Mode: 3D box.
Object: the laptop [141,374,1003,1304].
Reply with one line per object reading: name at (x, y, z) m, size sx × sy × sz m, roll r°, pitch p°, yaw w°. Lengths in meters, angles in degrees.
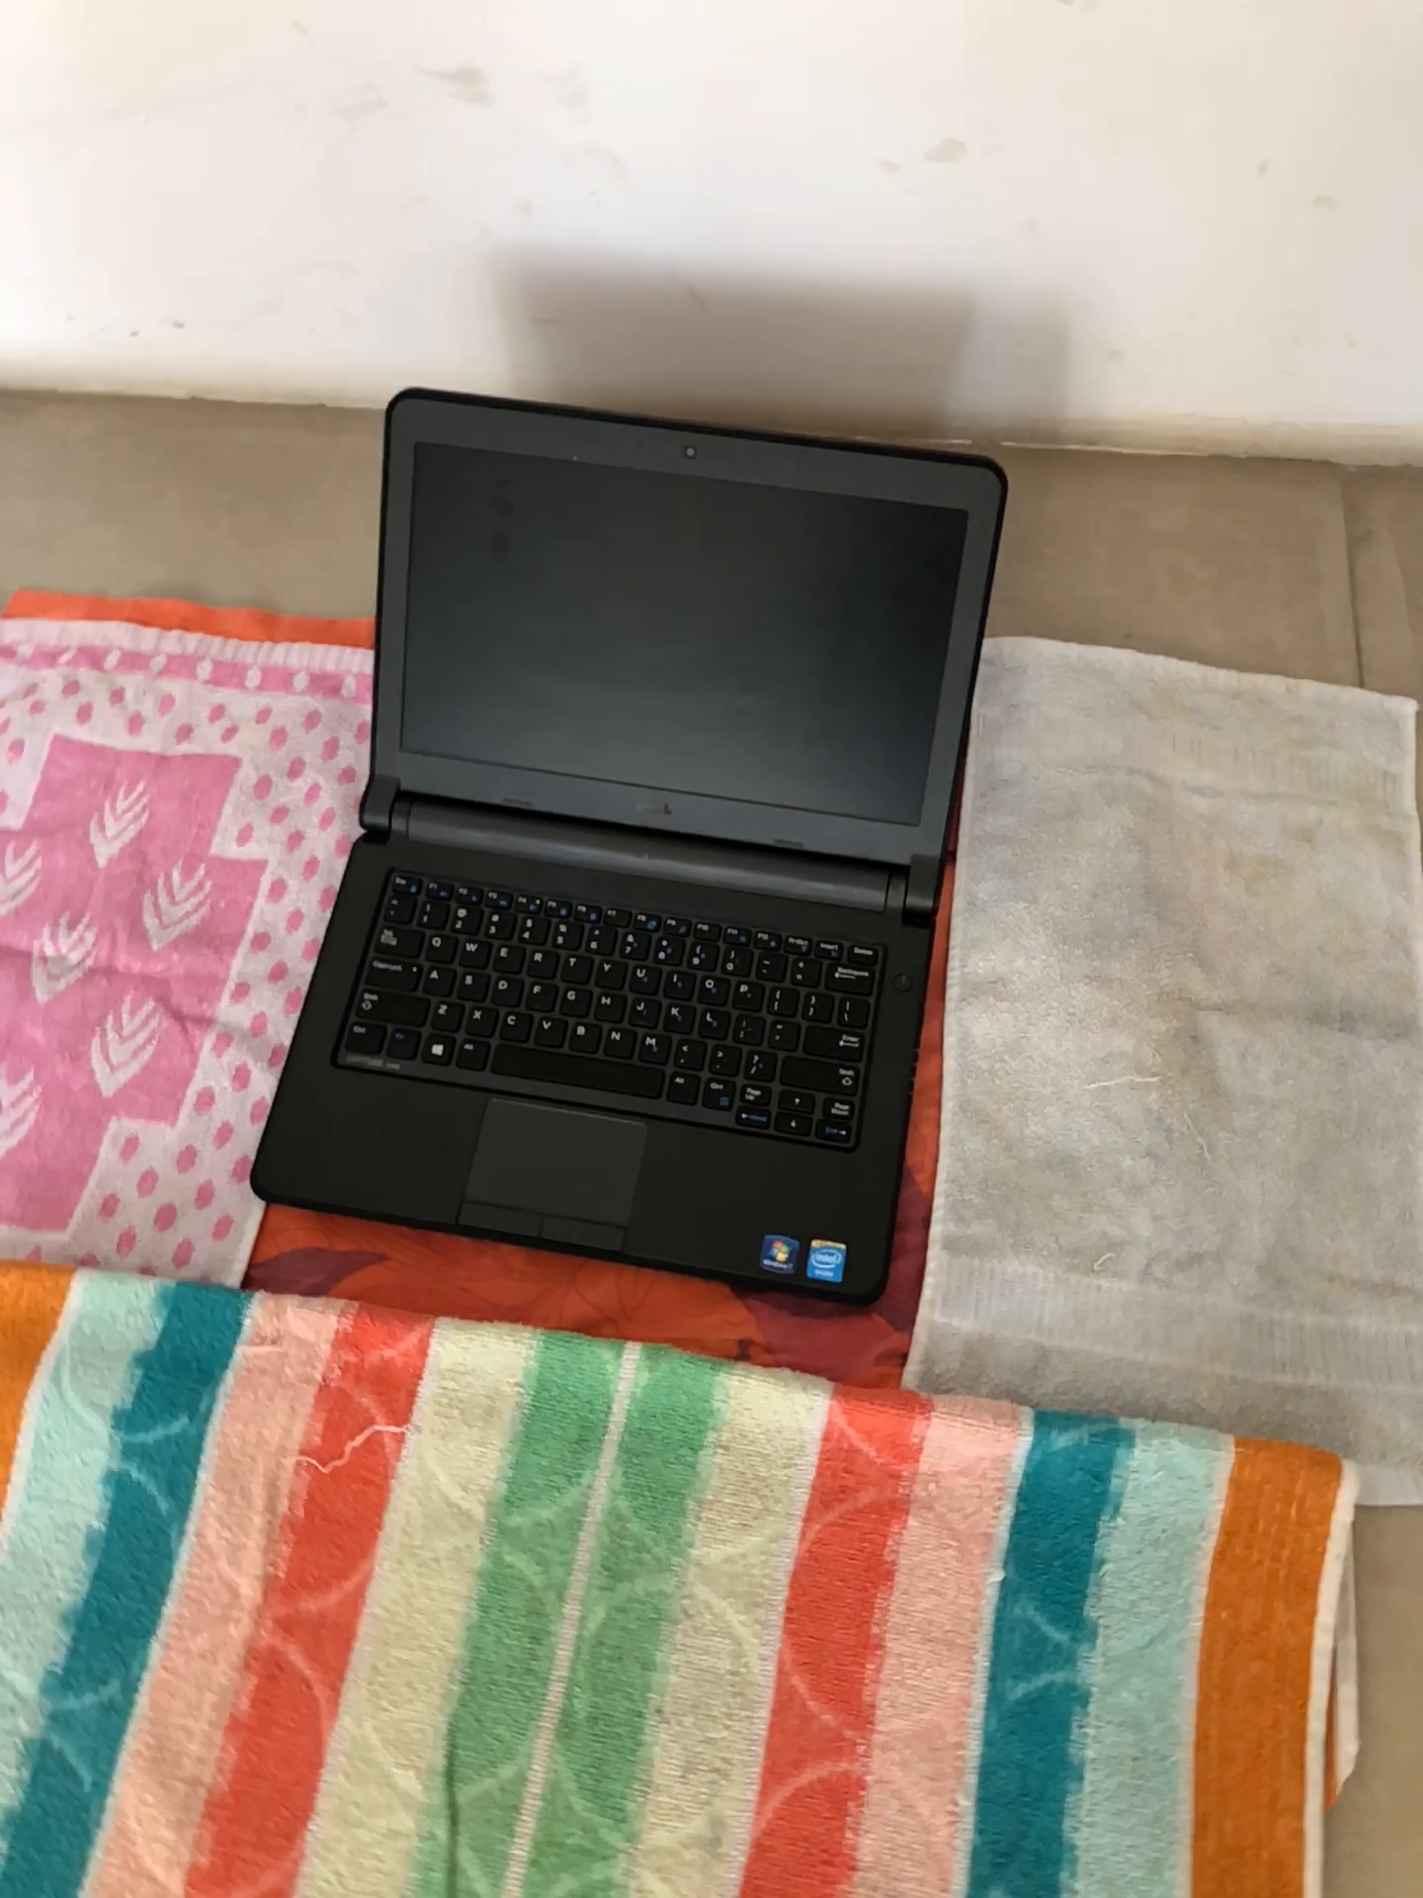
laptop at (-0.044, -0.062, 0.776) m, size 0.313 × 0.143 × 0.392 m, roll 9°, pitch 67°, yaw 6°
